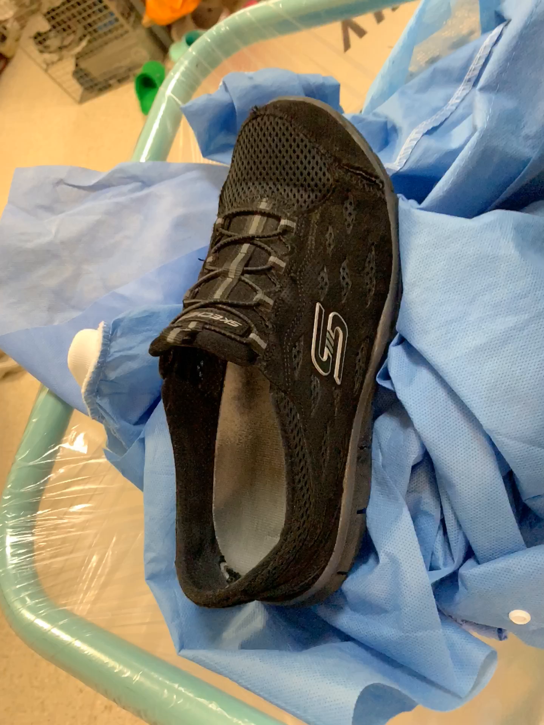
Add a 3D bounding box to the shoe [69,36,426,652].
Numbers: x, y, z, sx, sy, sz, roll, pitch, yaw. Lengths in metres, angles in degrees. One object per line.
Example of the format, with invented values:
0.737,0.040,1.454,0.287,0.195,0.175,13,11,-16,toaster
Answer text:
0.003,-0.012,0.279,0.088,0.094,0.254,3,73,33,shoe
